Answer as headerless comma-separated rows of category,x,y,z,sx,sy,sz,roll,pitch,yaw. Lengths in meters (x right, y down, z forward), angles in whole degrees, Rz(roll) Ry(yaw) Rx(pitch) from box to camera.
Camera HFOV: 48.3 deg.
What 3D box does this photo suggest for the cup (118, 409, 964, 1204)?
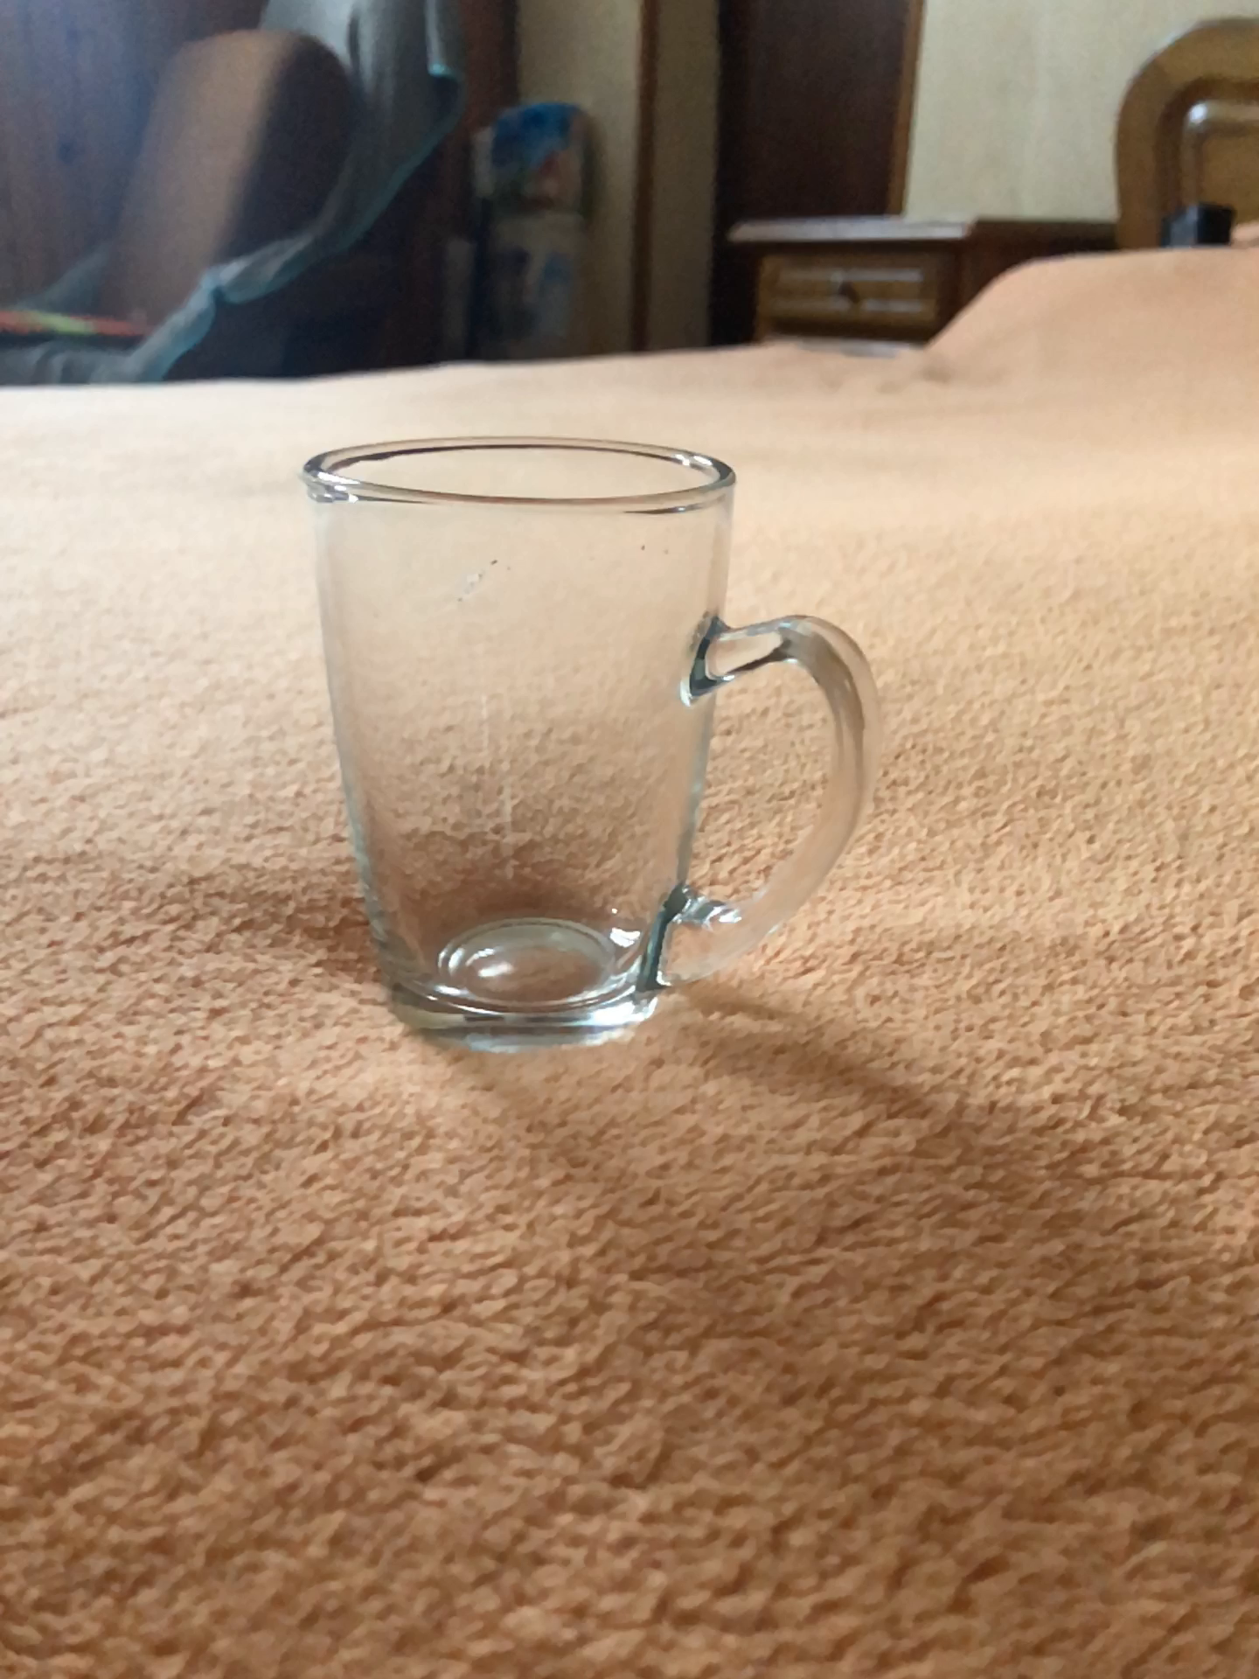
cup,-0.011,-0.014,0.218,0.100,0.090,0.070,11,24,22
